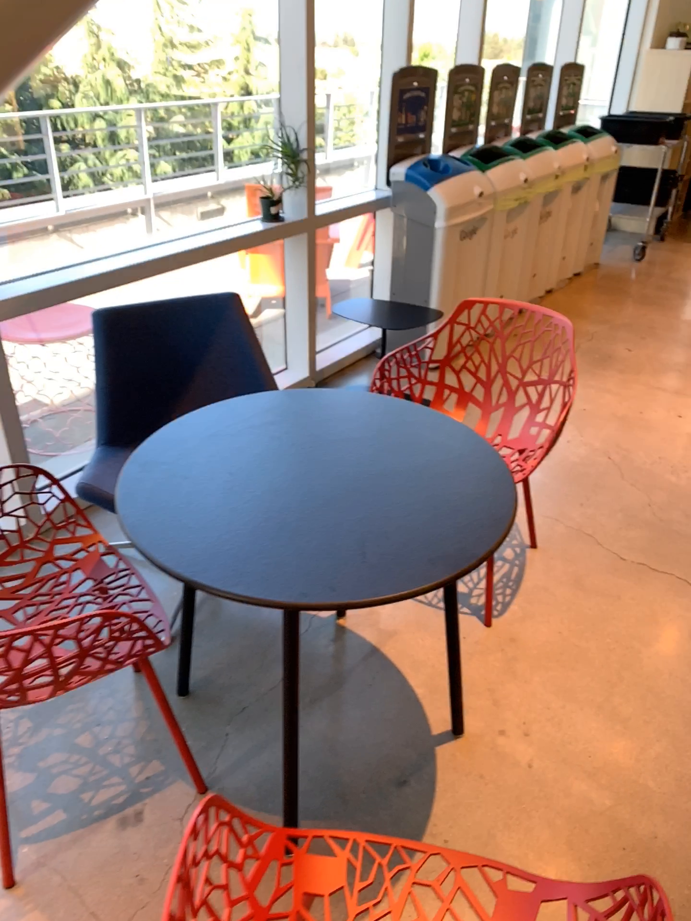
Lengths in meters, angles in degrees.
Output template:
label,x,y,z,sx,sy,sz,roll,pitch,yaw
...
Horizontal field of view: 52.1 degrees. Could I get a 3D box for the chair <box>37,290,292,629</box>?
label,x,y,z,sx,sy,sz,roll,pitch,yaw
chair,-0.524,-0.030,2.120,0.560,0.765,0.513,-13,33,-23

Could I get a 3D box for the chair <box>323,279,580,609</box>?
label,x,y,z,sx,sy,sz,roll,pitch,yaw
chair,0.318,-0.085,2.252,0.551,0.765,0.562,19,35,27

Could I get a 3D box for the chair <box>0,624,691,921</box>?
label,x,y,z,sx,sy,sz,roll,pitch,yaw
chair,0.018,0.716,0.884,0.560,0.765,0.533,6,31,8

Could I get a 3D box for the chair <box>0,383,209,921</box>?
label,x,y,z,sx,sy,sz,roll,pitch,yaw
chair,-0.652,0.345,1.448,0.530,0.765,0.563,-14,34,-24
